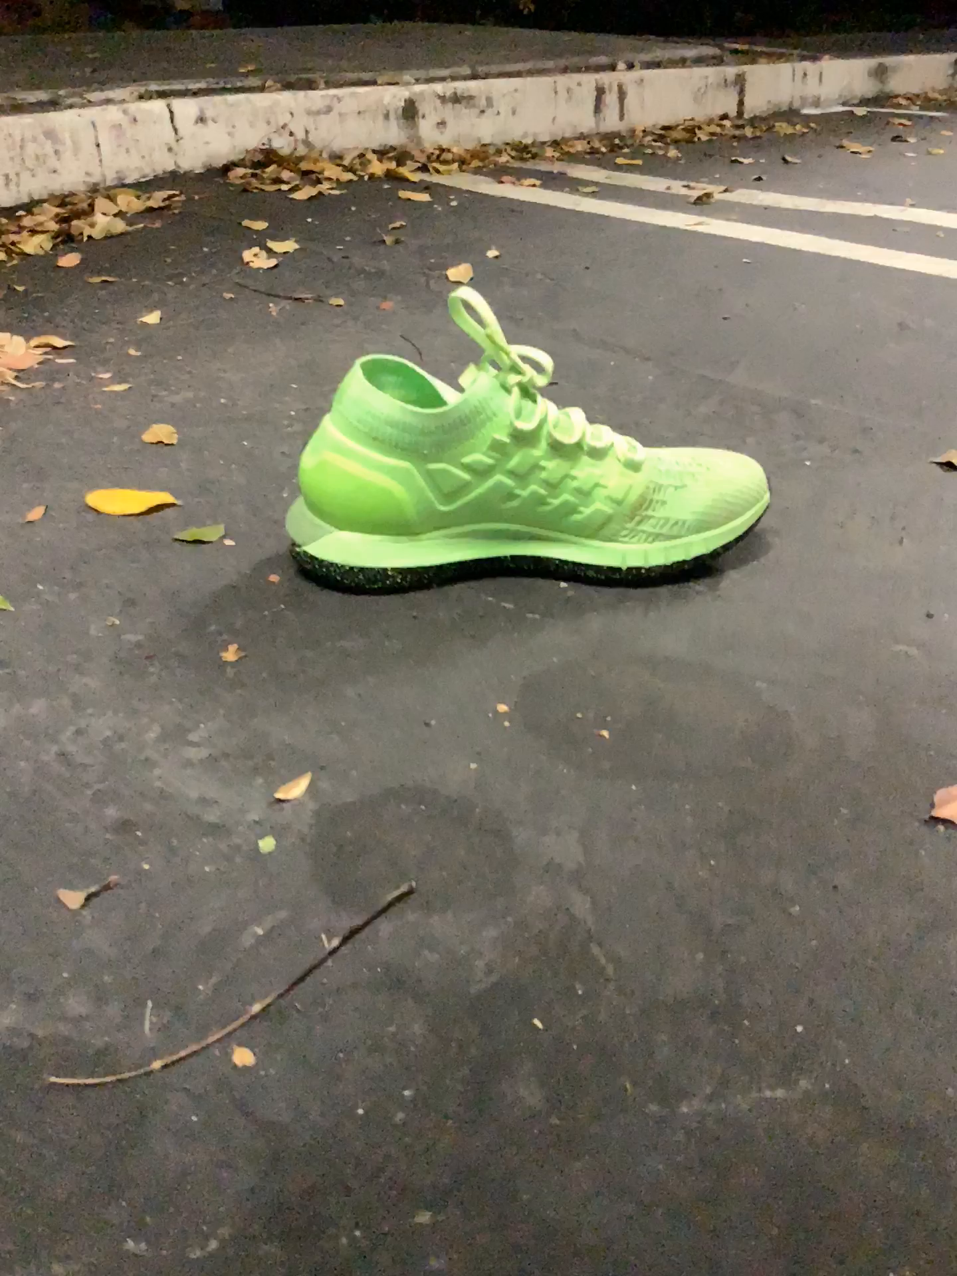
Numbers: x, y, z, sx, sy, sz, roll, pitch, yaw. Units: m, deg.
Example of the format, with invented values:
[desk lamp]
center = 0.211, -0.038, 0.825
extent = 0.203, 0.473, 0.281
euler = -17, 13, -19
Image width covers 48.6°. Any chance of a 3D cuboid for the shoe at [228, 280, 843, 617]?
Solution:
[shoe]
center = 0.030, -0.119, 0.644
extent = 0.320, 0.150, 0.130
euler = -3, 30, -1
